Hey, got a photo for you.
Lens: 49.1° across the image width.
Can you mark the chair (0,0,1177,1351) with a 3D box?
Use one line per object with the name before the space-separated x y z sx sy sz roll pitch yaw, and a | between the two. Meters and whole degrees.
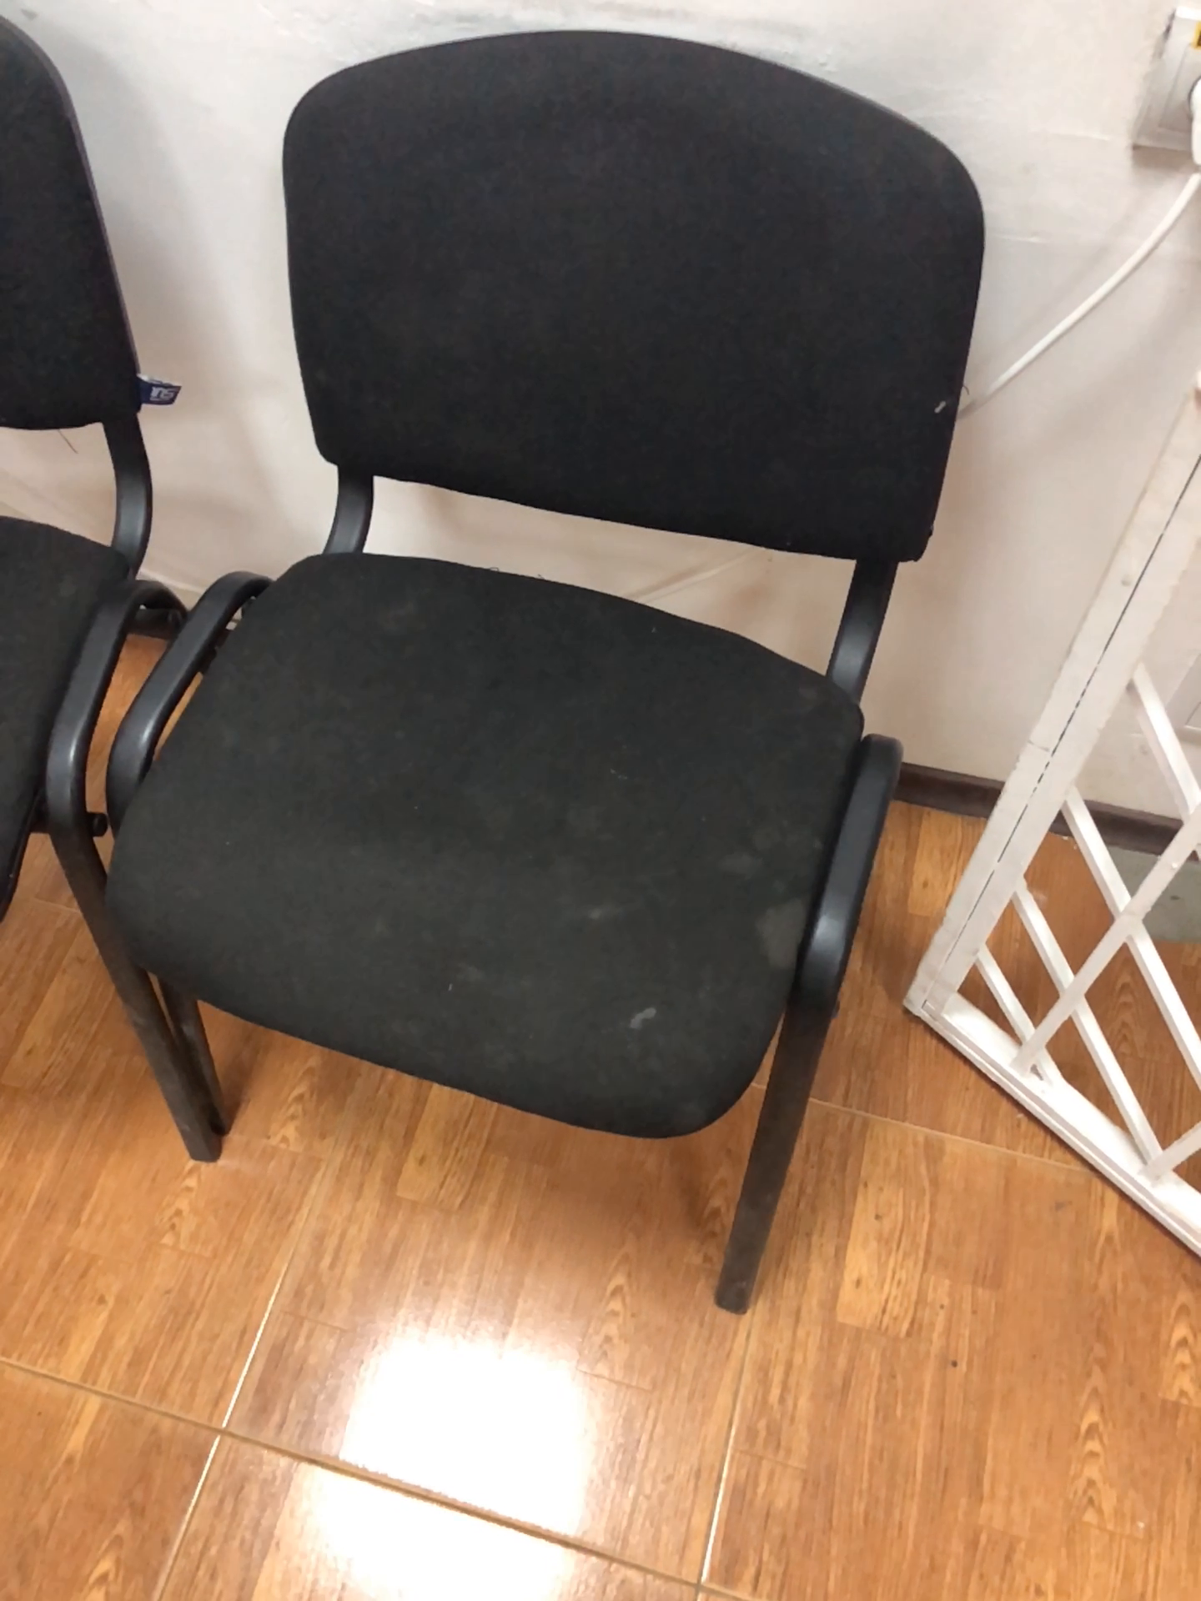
chair | -0.016 -0.062 0.973 0.570 0.688 0.621 15 60 11
